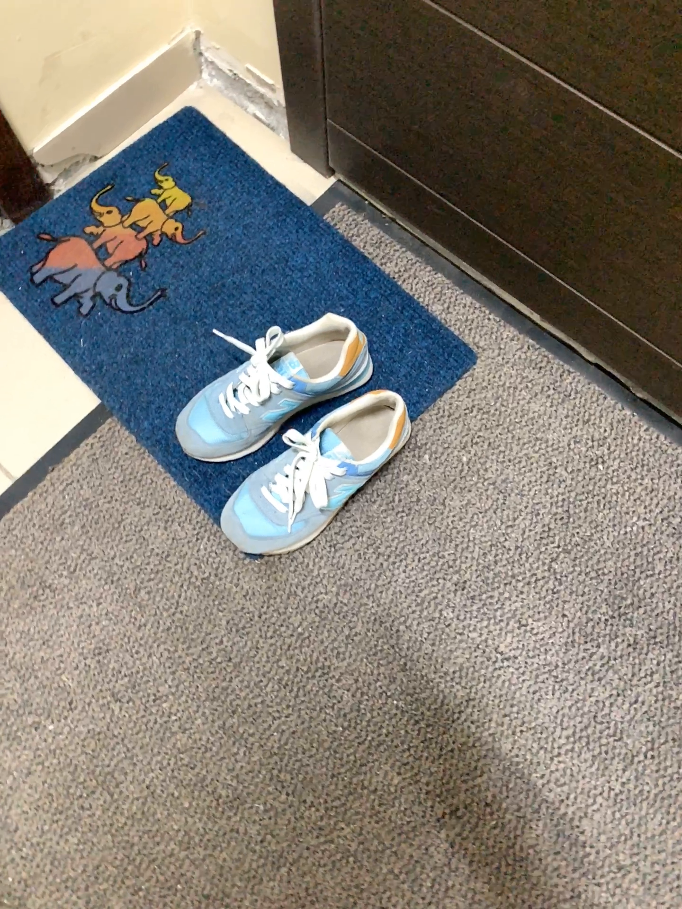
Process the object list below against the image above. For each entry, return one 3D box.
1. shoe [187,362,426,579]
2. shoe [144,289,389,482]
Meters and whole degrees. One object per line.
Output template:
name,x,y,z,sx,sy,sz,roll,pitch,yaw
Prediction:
shoe,-0.033,0.021,0.799,0.250,0.120,0.090,-35,71,-10
shoe,-0.082,-0.077,0.830,0.260,0.140,0.080,-27,78,-8
